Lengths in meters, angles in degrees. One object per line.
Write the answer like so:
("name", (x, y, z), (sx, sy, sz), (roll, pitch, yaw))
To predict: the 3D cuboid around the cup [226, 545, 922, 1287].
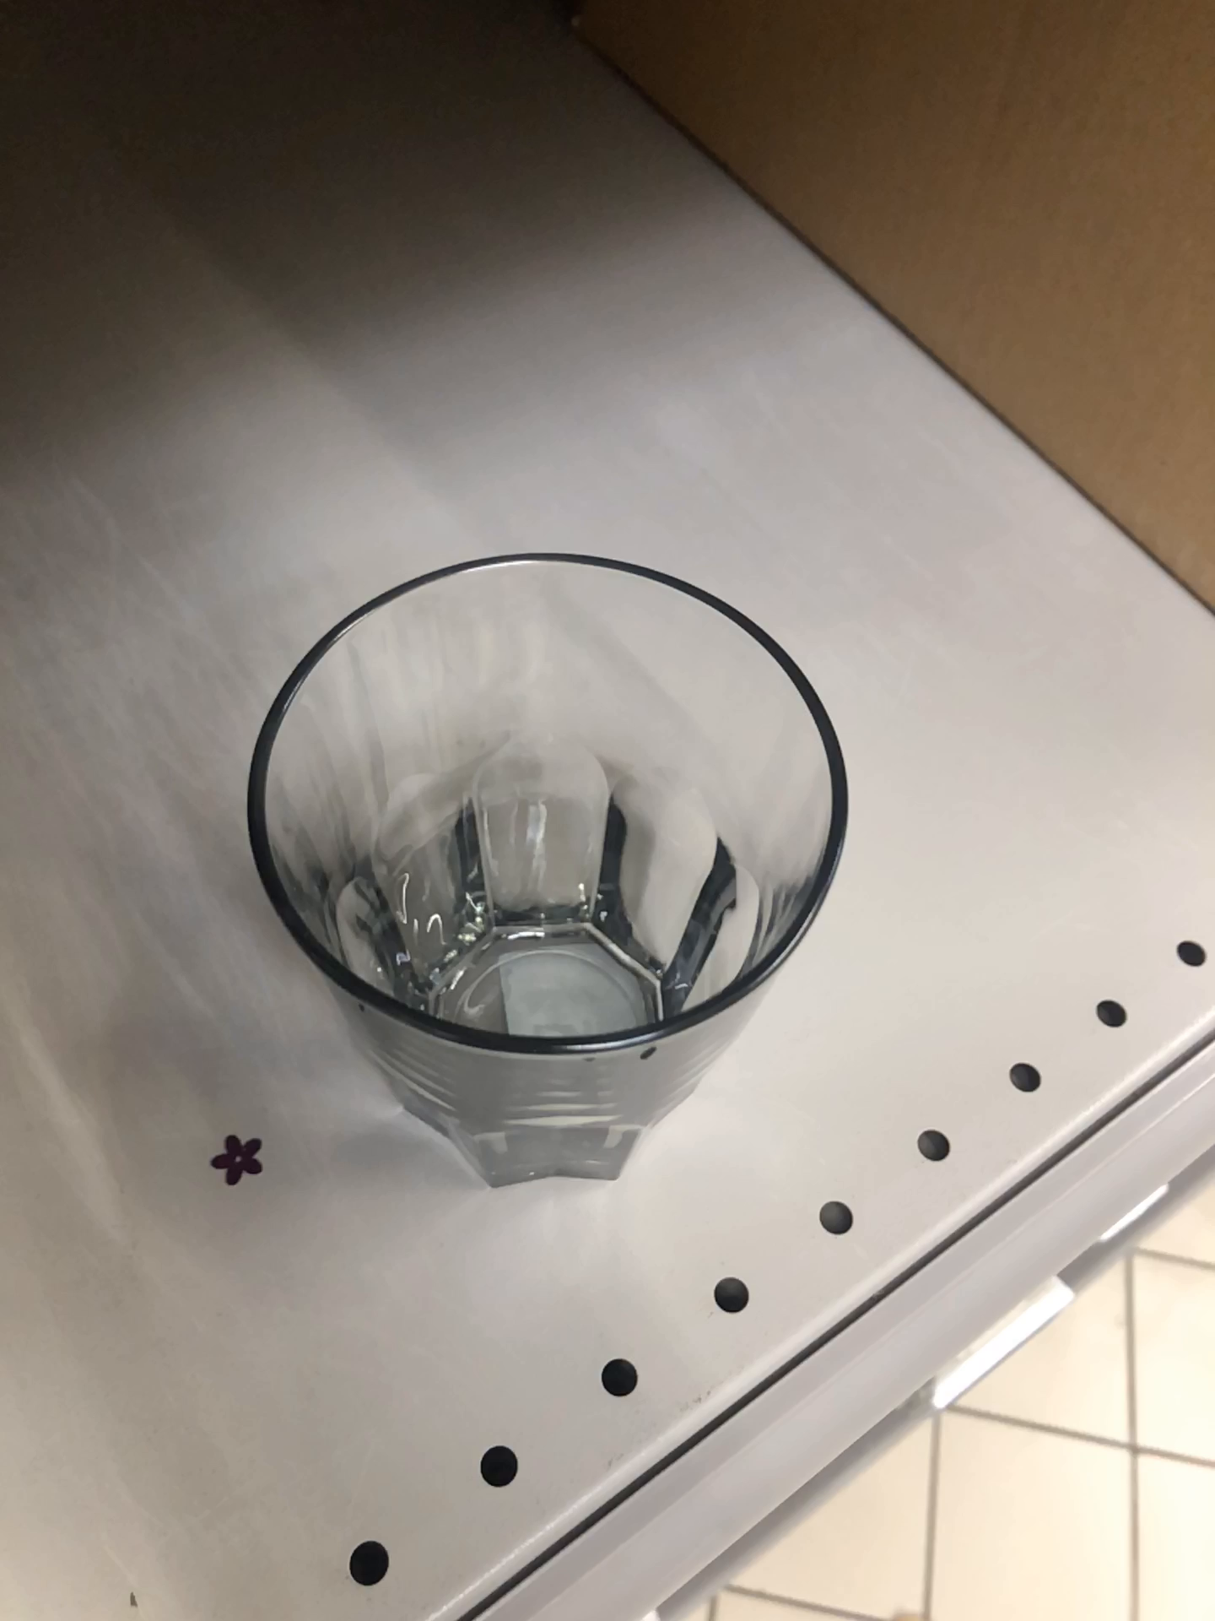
("cup", (-0.011, 0.021, 0.226), (0.086, 0.092, 0.083), (2, 57, -3))
